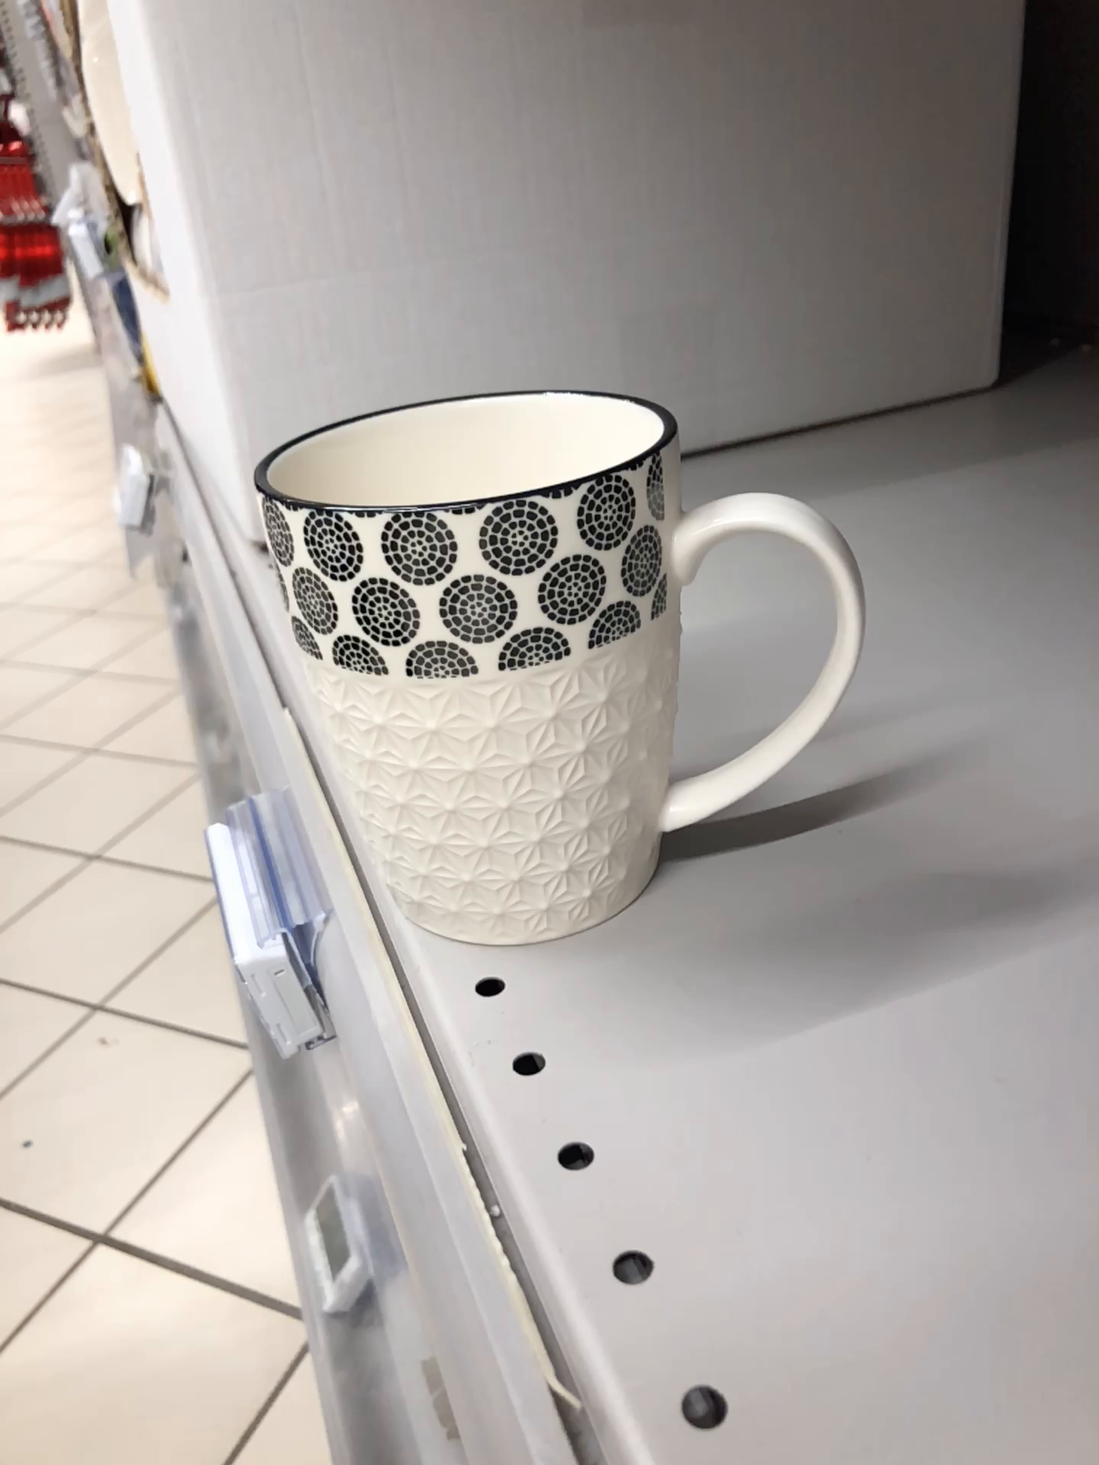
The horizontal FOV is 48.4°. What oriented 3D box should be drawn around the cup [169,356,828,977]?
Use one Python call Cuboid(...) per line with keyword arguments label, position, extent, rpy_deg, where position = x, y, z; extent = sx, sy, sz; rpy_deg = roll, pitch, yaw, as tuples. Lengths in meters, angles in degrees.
Cuboid(label="cup", position=(0.001, -0.016, 0.256), extent=(0.106, 0.096, 0.089), rpy_deg=(-2, 28, 11))
